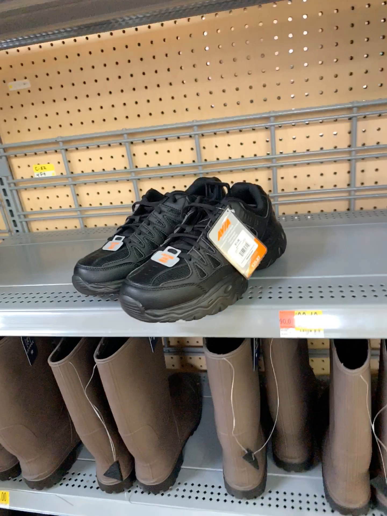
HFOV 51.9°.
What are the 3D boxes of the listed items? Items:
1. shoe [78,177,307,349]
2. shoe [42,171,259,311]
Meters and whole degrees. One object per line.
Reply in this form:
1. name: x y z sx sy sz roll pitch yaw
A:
1. shoe: 0.020 -0.020 0.536 0.135 0.104 0.297 12 30 40
2. shoe: -0.053 -0.047 0.618 0.297 0.104 0.139 -25 28 -34
